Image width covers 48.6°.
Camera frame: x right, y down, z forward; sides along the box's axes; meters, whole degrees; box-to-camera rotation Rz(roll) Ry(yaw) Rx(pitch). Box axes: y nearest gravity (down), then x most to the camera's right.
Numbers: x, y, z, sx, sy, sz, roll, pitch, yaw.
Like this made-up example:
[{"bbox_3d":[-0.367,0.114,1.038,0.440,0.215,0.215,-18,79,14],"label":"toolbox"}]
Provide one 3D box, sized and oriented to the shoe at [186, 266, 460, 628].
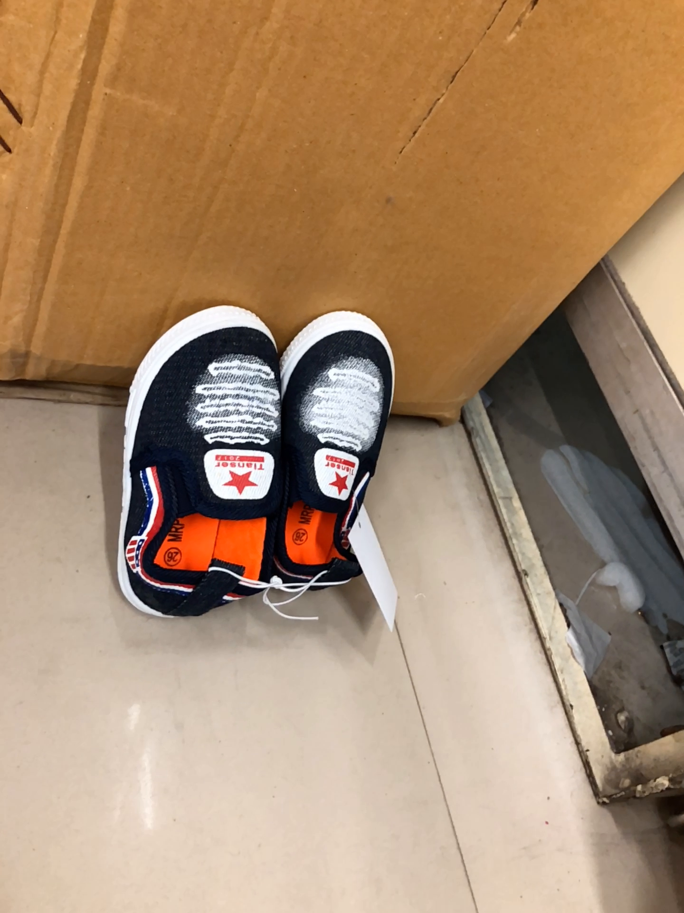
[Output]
[{"bbox_3d":[-0.016,-0.005,0.392,0.080,0.160,0.080,9,15,-26],"label":"shoe"}]
